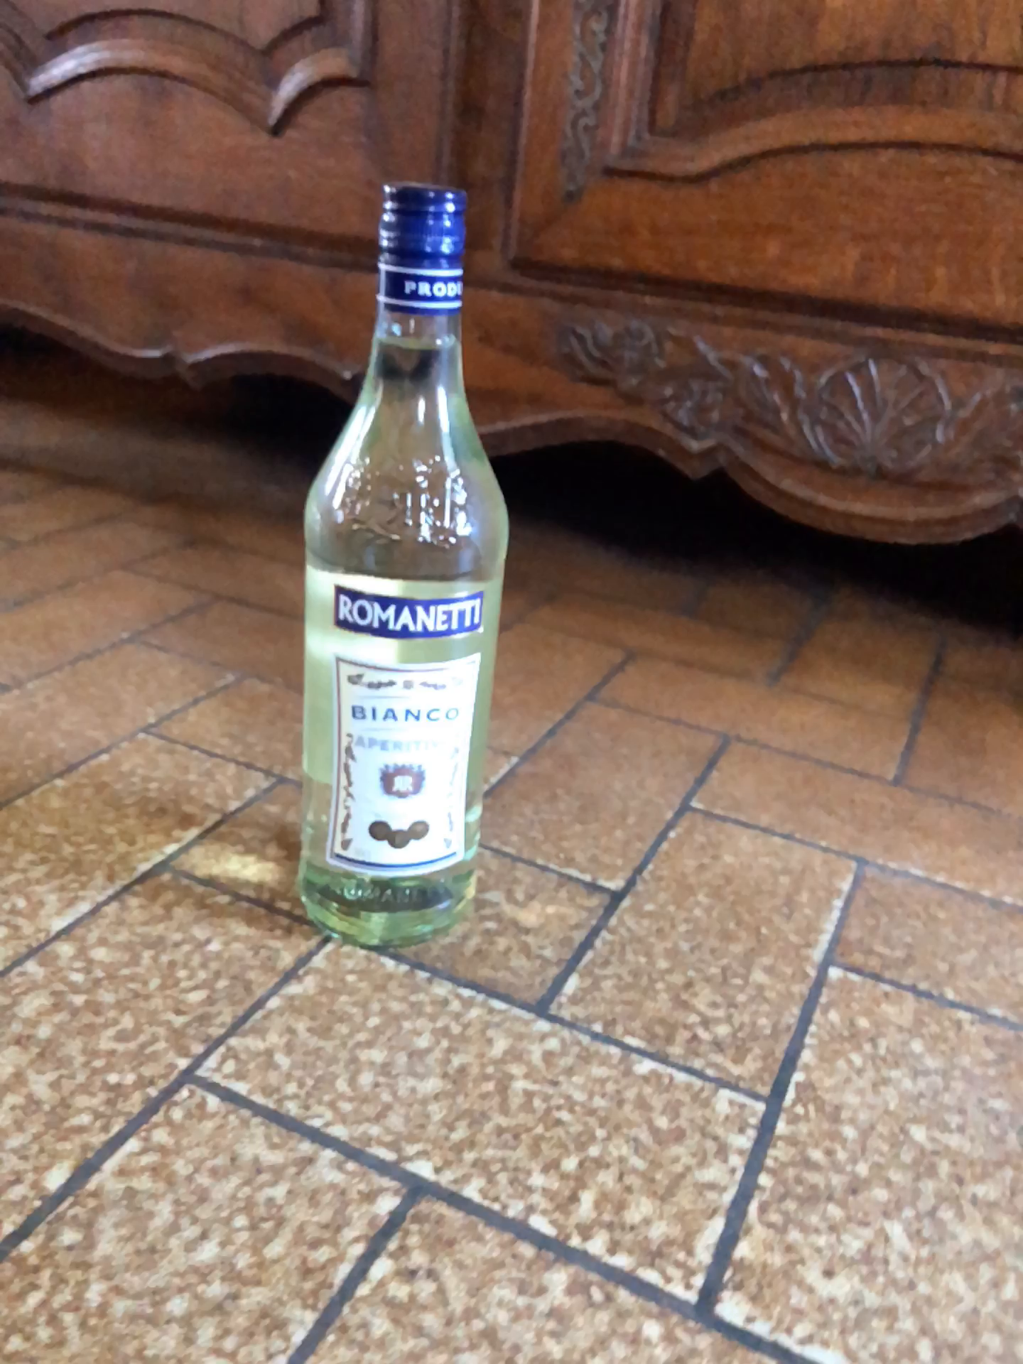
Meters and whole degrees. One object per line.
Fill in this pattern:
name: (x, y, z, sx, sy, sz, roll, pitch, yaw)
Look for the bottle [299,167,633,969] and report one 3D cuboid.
bottle: (-0.031, -0.039, 0.457, 0.100, 0.298, 0.100, 5, 24, -2)
